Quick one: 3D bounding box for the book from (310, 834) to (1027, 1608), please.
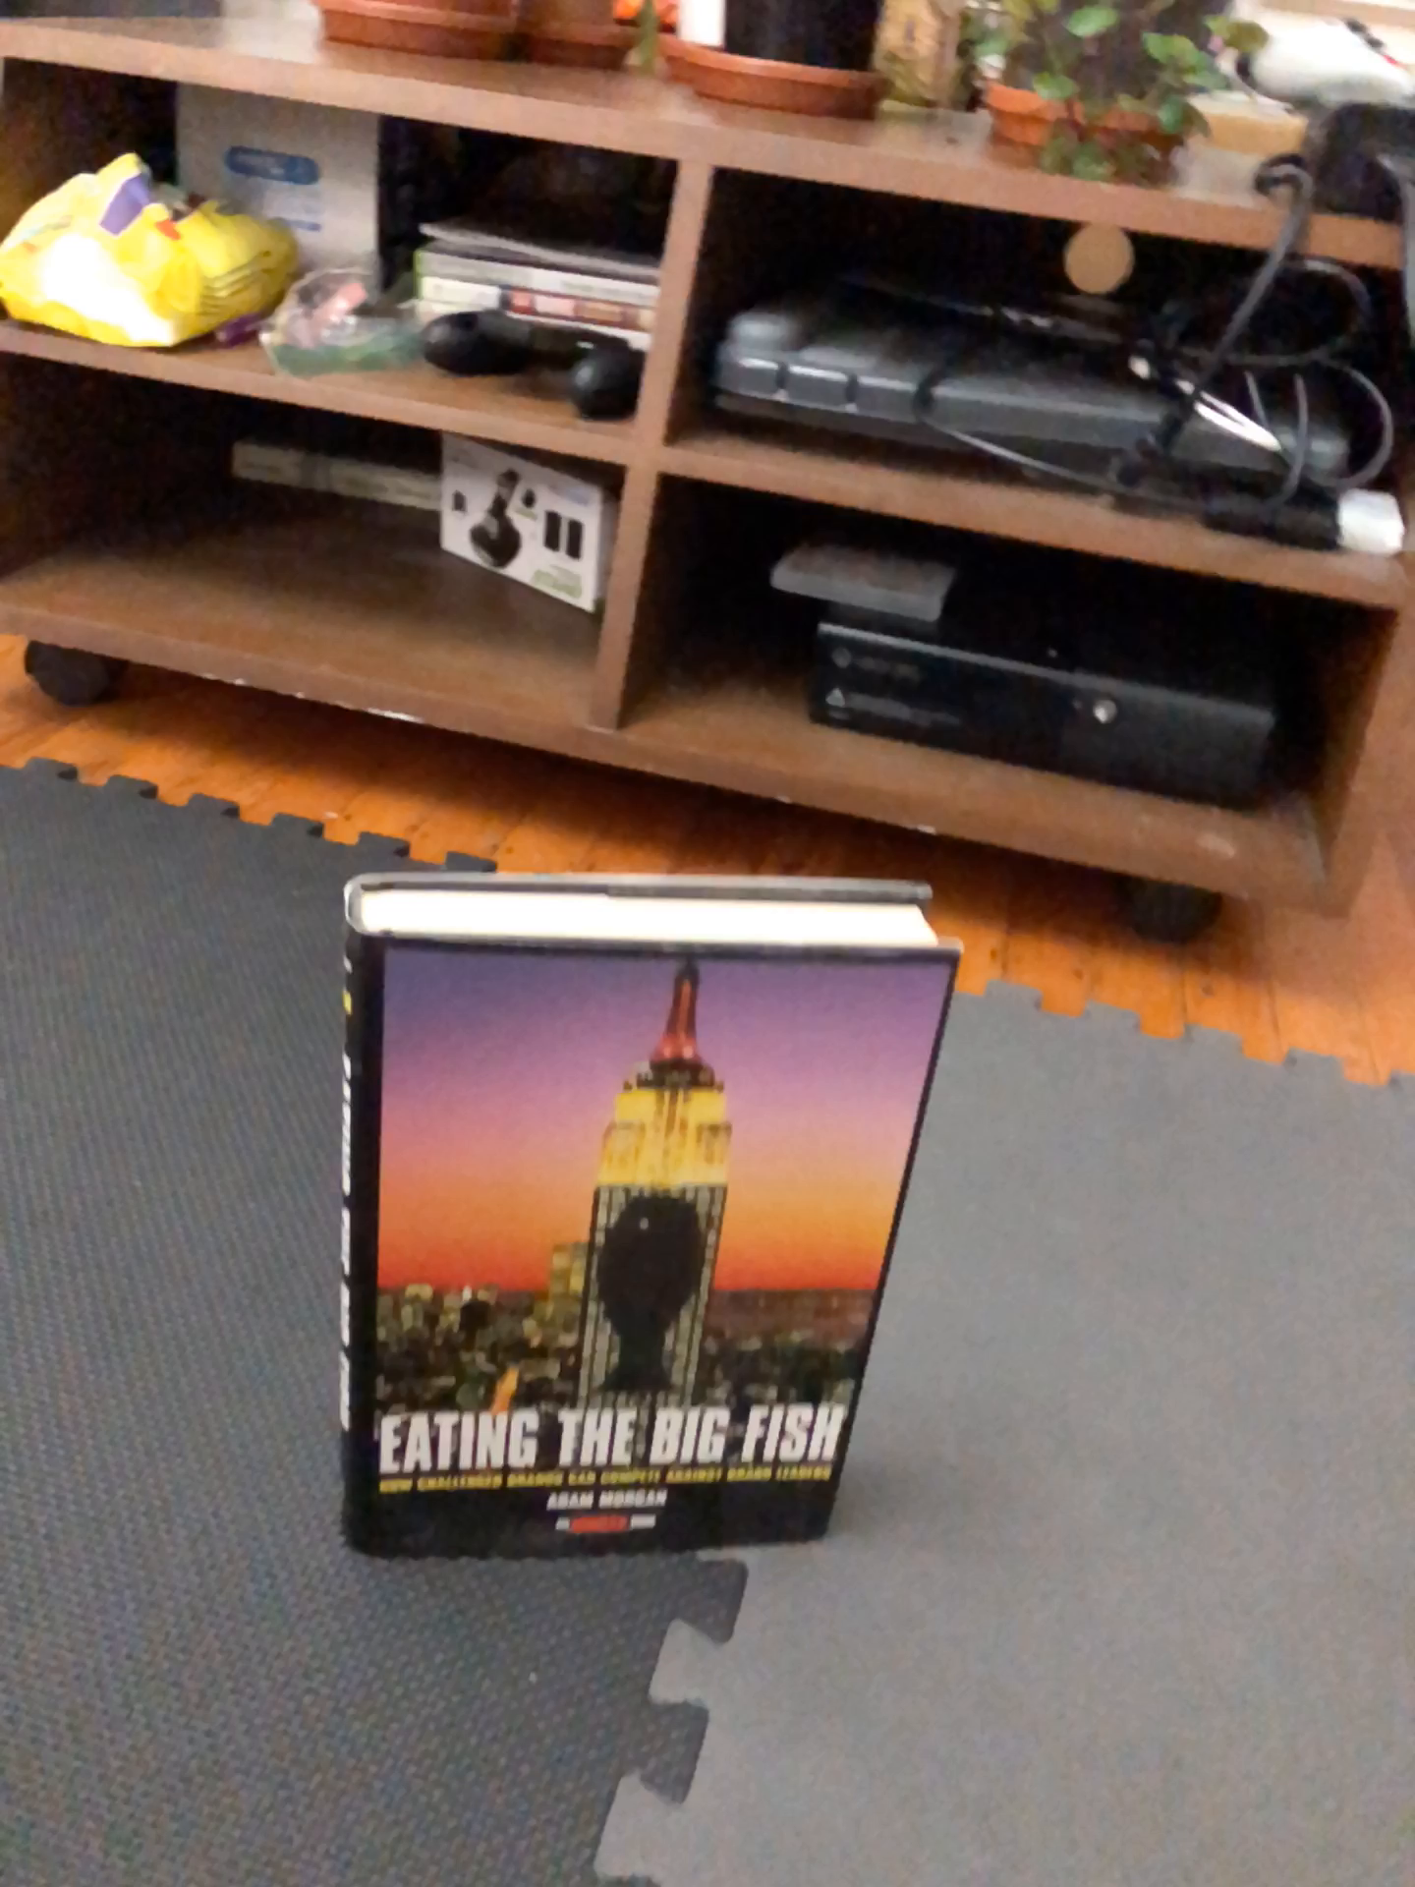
[{"bbox_3d":[-0.024,0.093,0.476,0.180,0.258,0.050,0,33,-12],"label":"book"}]
